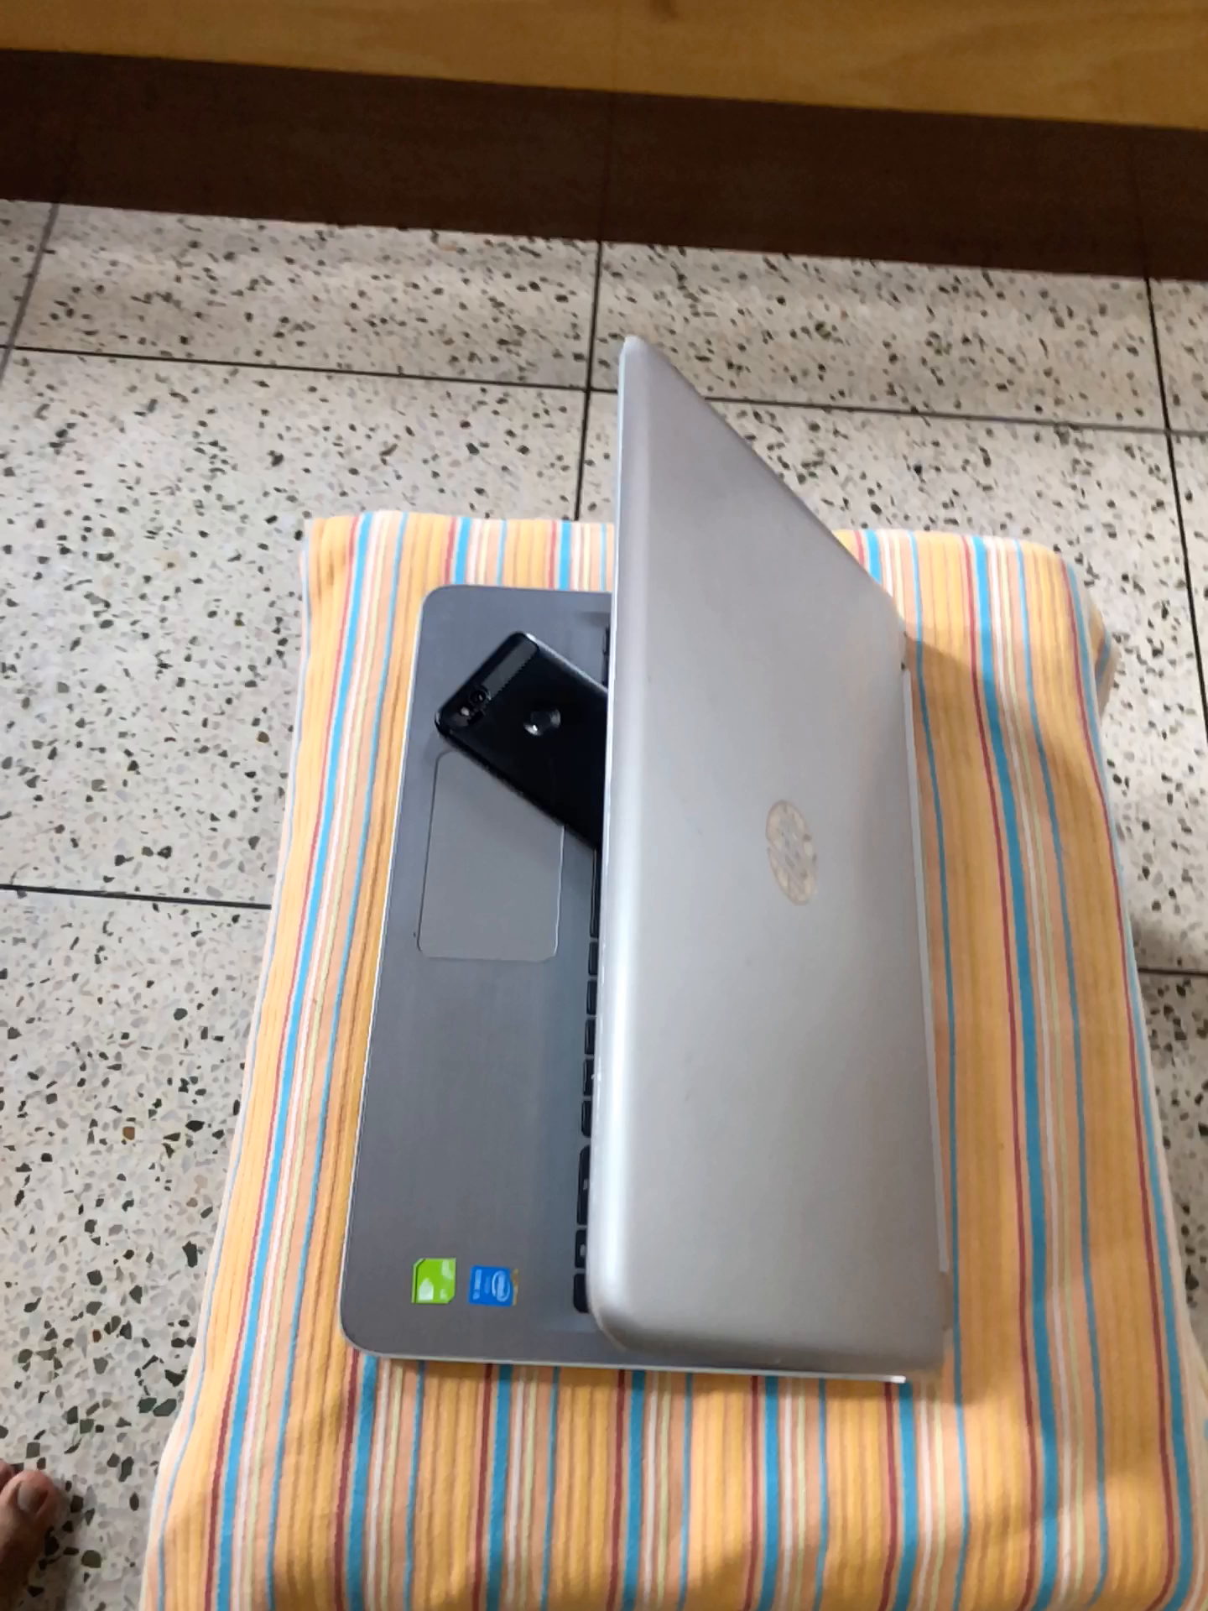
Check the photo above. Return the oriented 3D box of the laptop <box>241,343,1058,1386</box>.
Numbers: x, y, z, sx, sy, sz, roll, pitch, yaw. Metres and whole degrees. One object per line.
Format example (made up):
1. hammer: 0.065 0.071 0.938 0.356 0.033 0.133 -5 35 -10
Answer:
1. laptop: 0.019 0.027 0.545 0.236 0.184 0.372 3 65 0
